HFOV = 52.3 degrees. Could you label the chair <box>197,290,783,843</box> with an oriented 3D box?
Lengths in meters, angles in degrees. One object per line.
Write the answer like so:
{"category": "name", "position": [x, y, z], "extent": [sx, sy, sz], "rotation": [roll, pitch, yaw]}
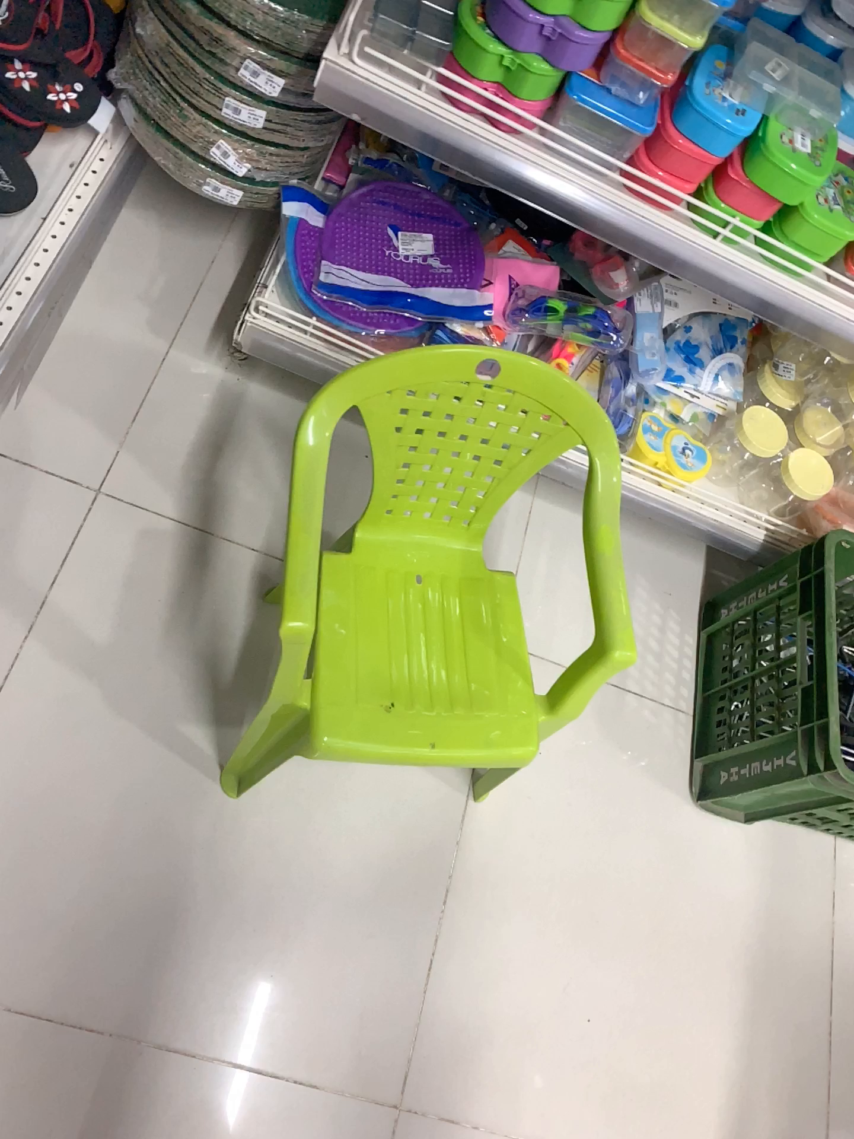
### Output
{"category": "chair", "position": [0.010, 0.058, 0.874], "extent": [0.391, 0.469, 0.360], "rotation": [8, 66, -17]}
